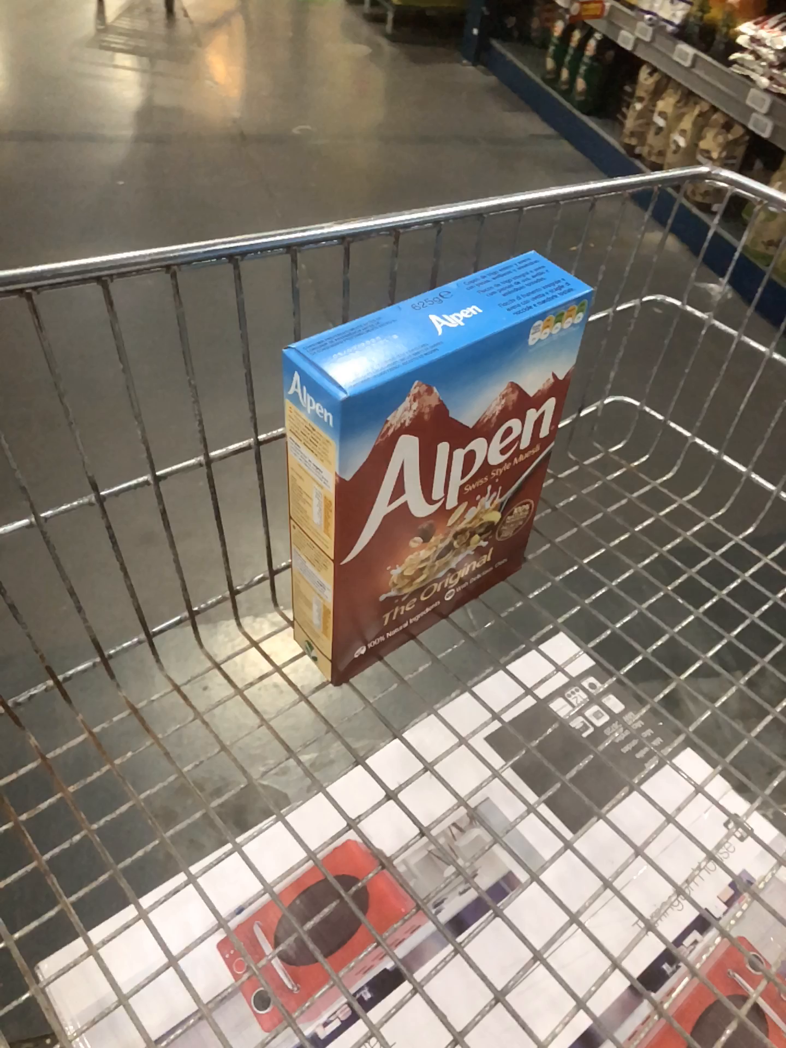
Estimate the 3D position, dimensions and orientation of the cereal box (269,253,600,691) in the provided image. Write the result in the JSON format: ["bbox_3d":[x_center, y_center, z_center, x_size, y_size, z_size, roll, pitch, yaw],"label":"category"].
[{"bbox_3d":[0.018,-0.028,0.530,0.181,0.219,0.060,-28,54,-31],"label":"cereal box"}]
